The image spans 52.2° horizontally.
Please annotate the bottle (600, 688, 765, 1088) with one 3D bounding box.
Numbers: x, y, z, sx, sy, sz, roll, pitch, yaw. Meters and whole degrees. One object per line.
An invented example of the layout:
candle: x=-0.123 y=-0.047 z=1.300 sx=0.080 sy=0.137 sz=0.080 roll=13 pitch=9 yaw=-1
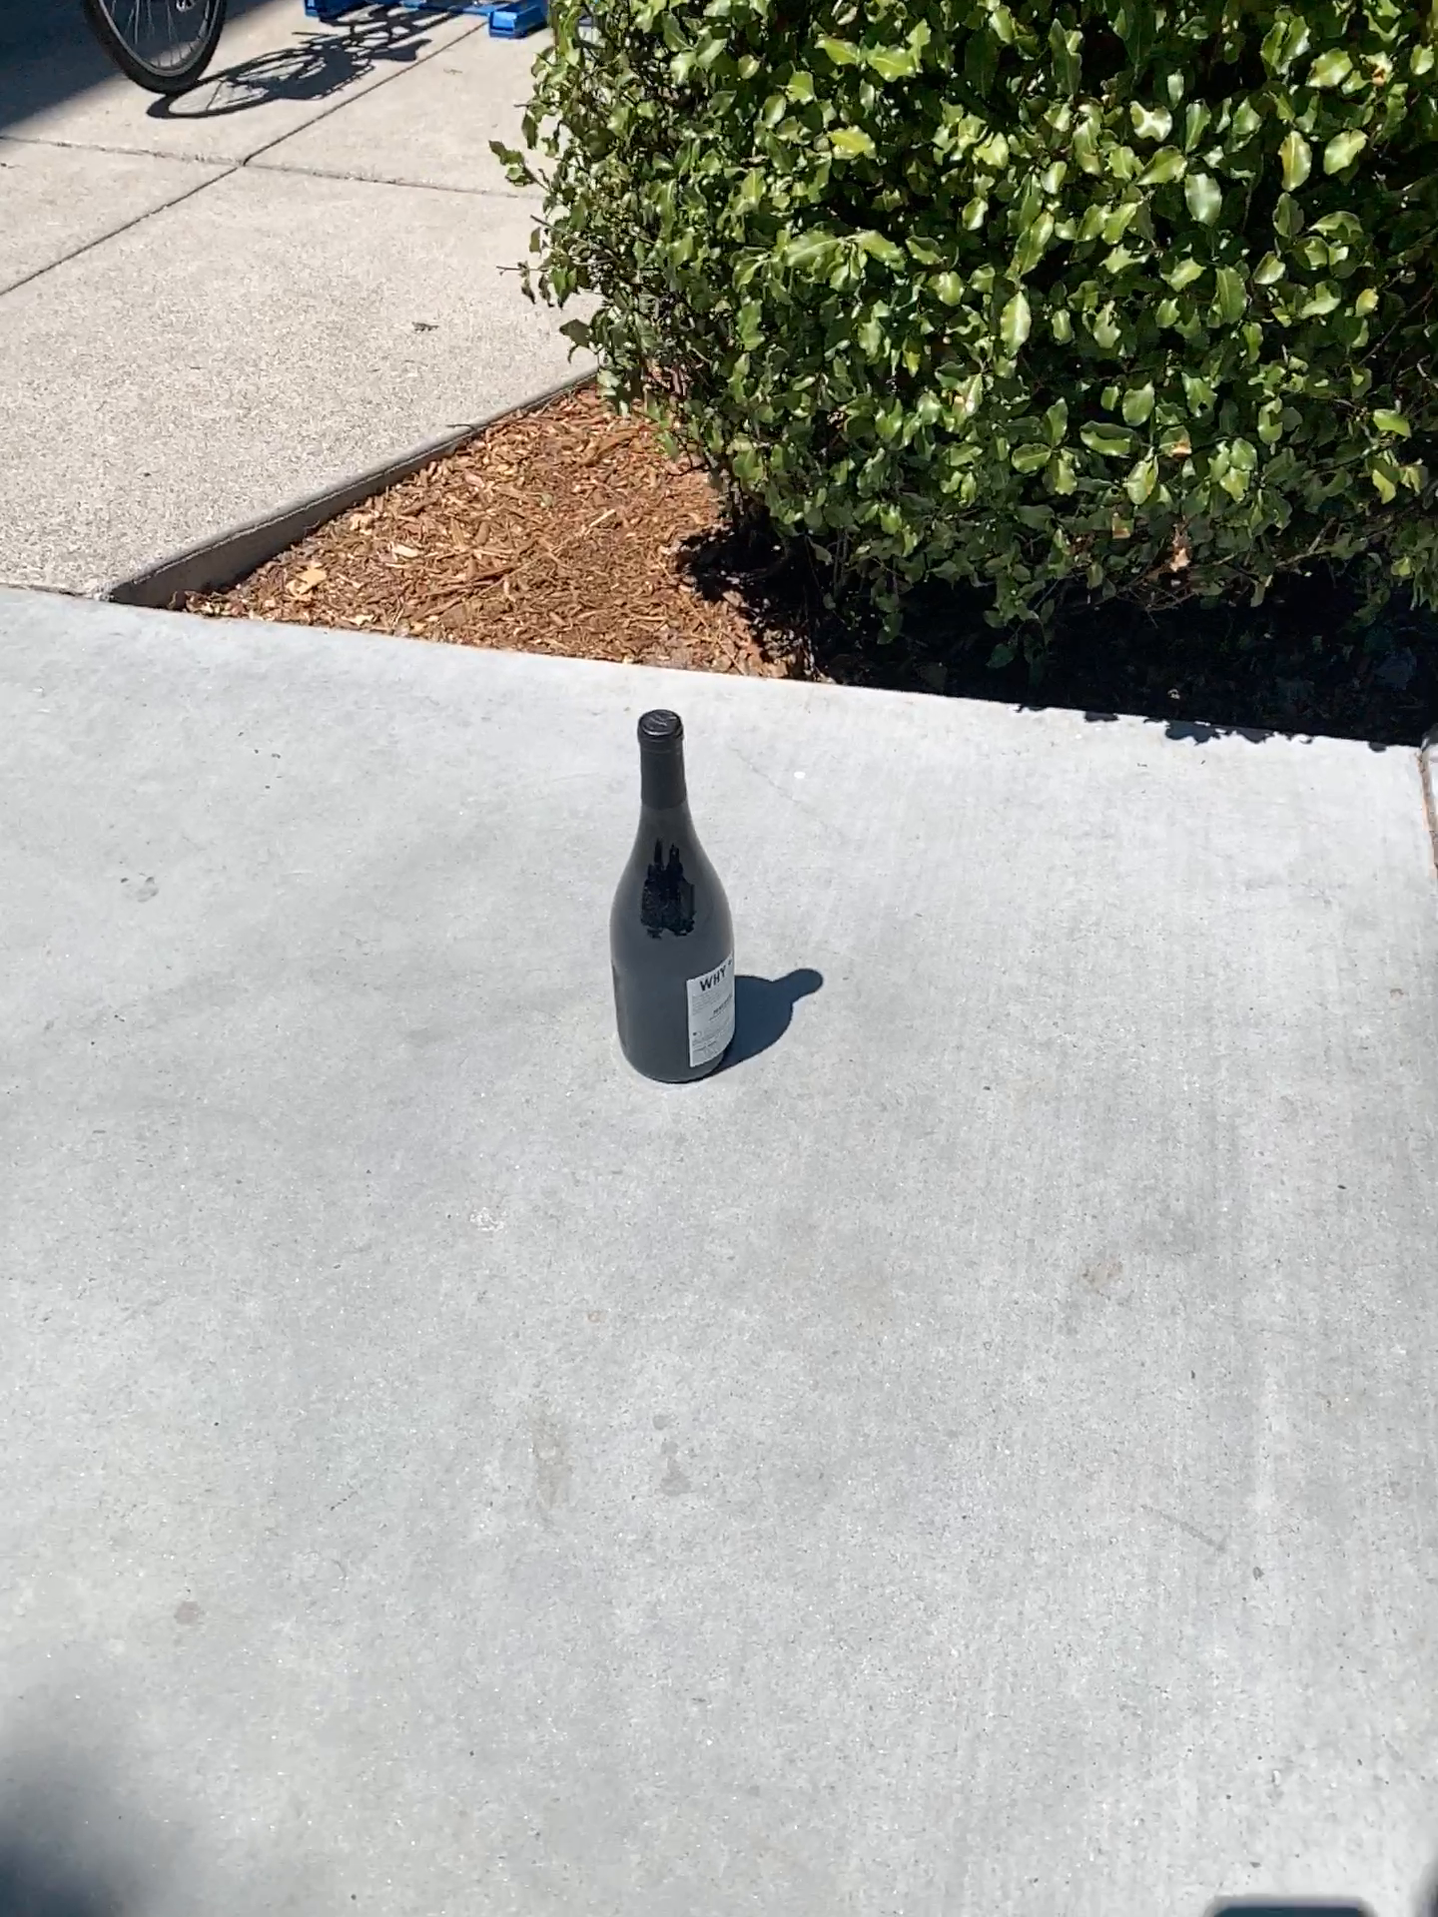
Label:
bottle: x=-0.026 y=-0.039 z=0.961 sx=0.090 sy=0.258 sz=0.091 roll=2 pitch=44 yaw=-2
